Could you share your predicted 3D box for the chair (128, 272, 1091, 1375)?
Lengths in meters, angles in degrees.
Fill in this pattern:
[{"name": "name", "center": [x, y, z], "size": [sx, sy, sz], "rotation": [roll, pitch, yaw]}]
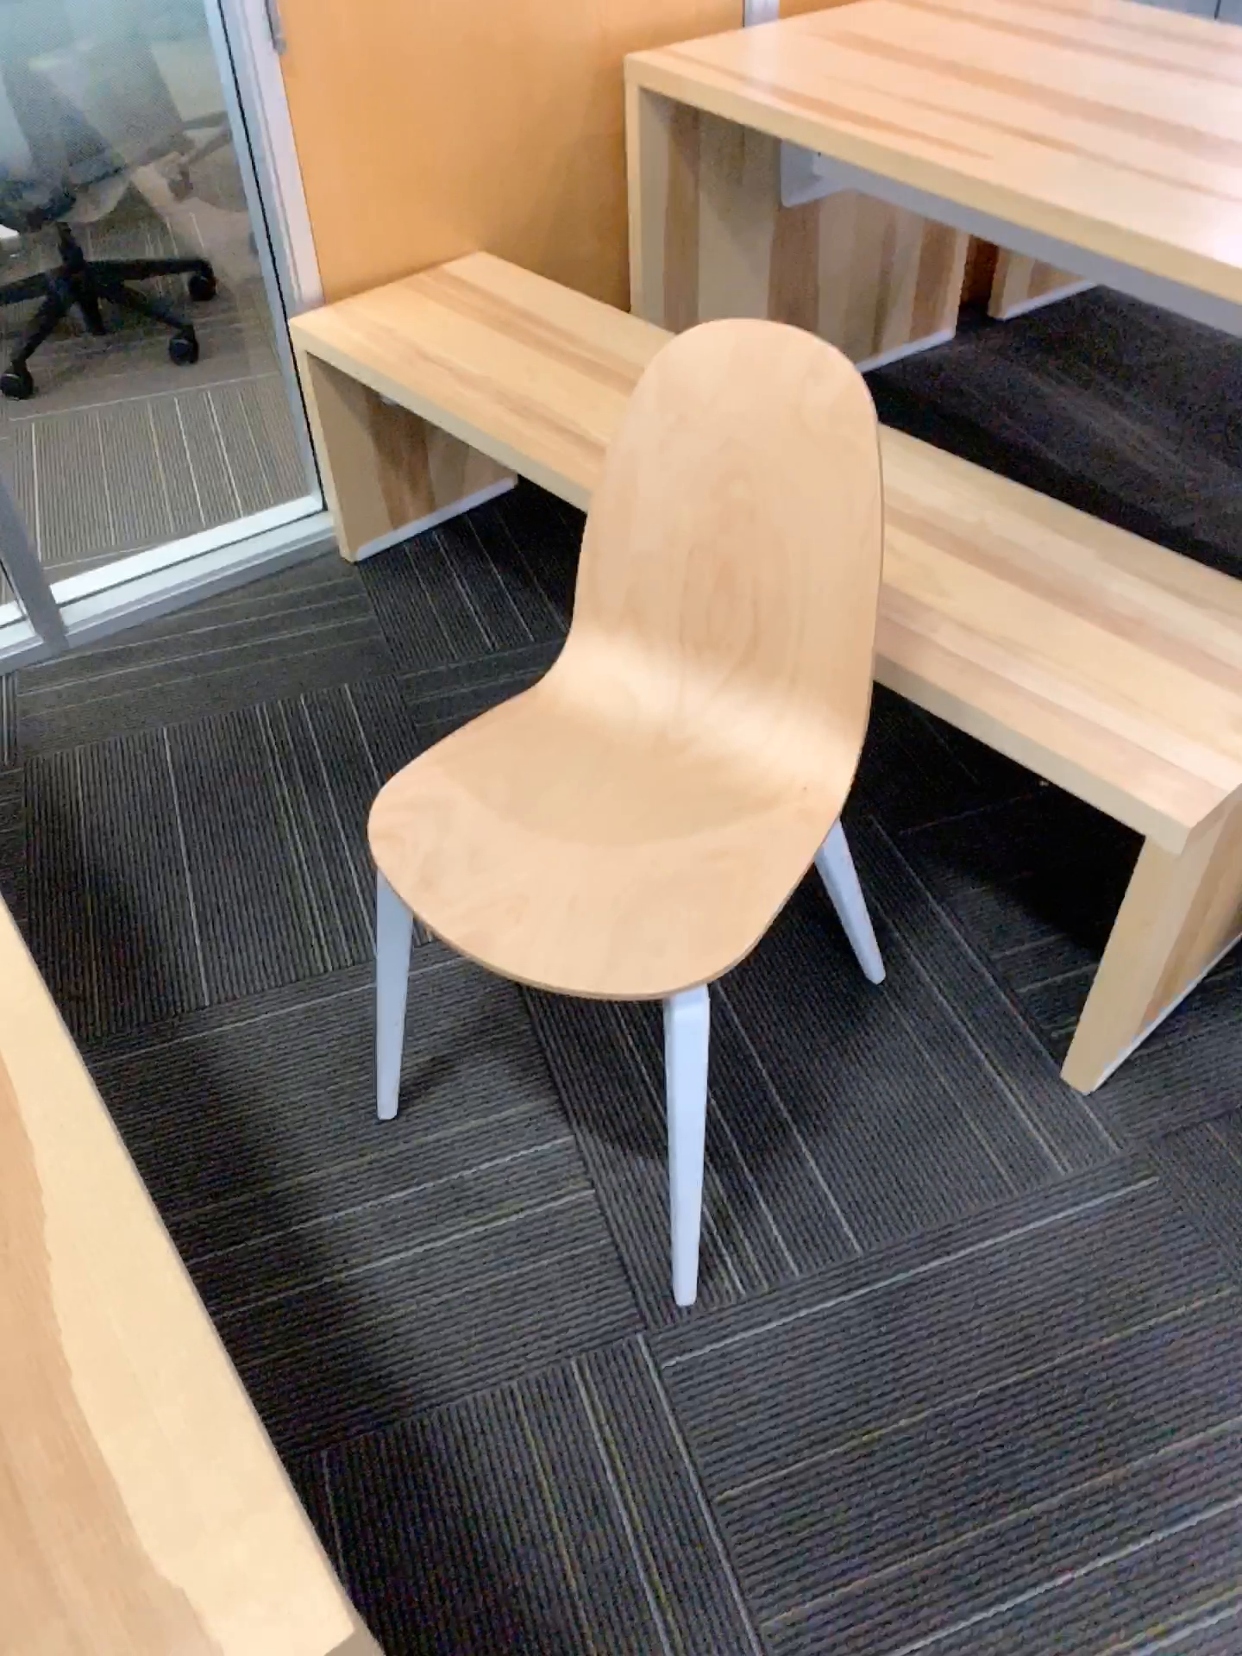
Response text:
[{"name": "chair", "center": [0.041, -0.018, 1.288], "size": [0.521, 0.766, 0.652], "rotation": [21, 49, 22]}]
